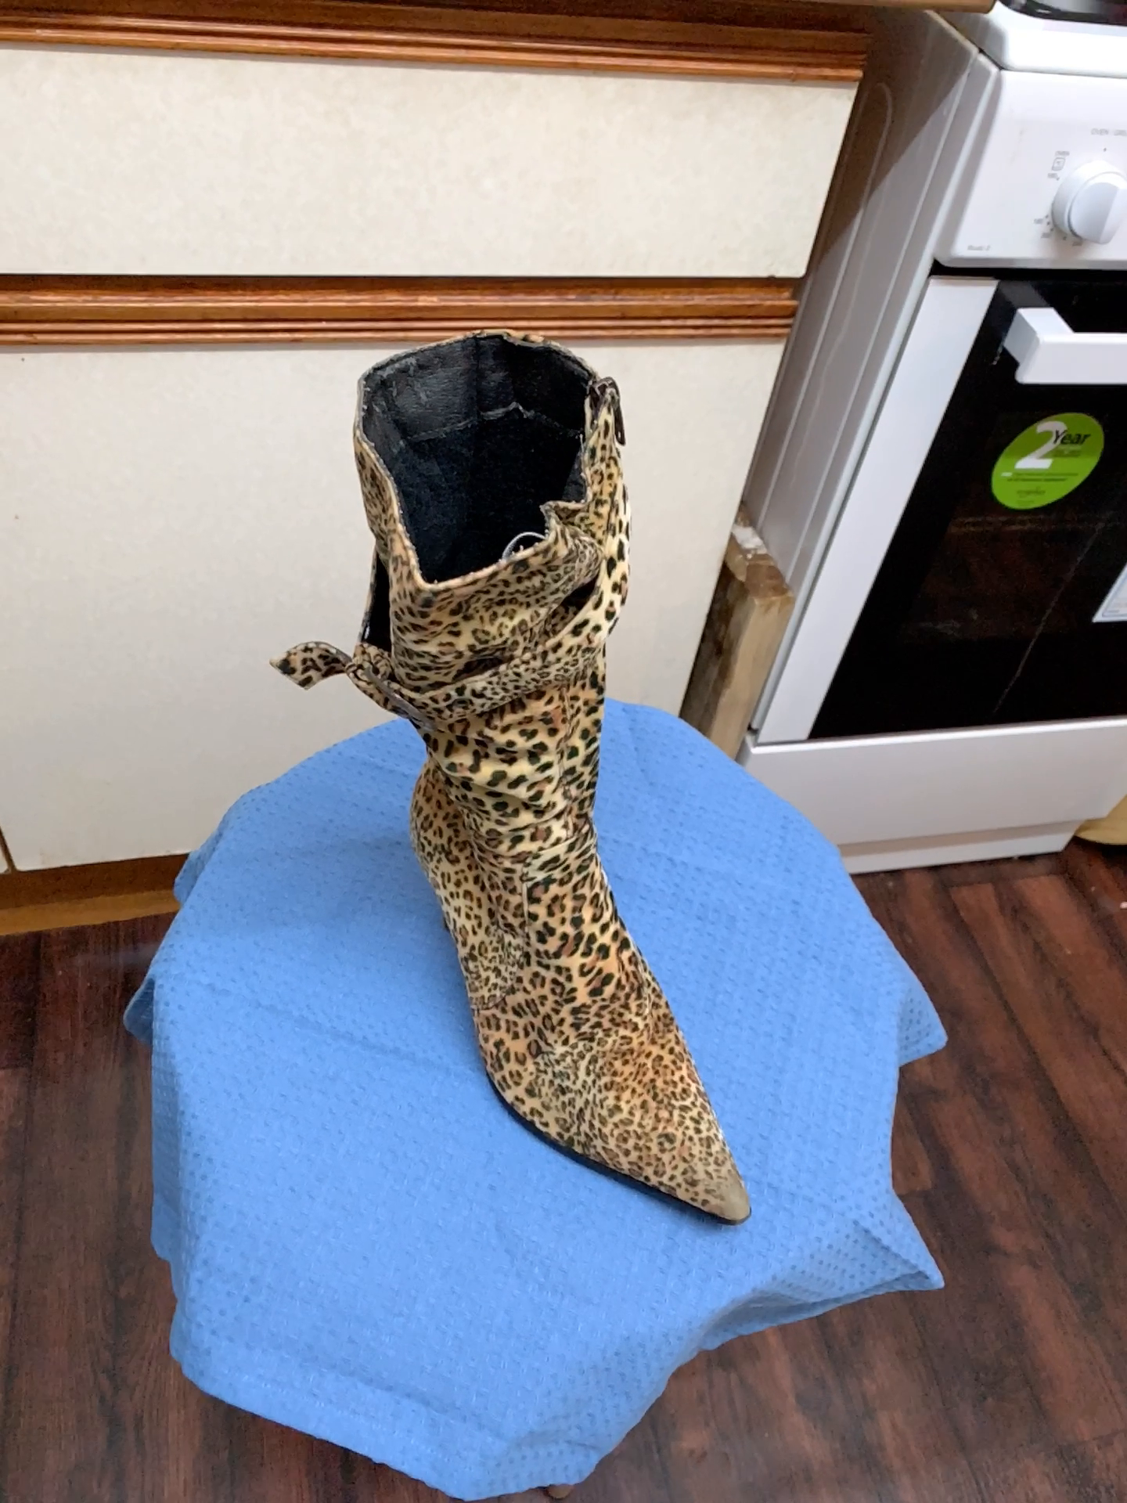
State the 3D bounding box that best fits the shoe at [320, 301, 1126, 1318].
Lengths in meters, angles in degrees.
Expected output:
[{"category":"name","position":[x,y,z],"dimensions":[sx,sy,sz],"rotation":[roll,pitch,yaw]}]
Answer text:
[{"category":"shoe","position":[0.017,0.043,0.490],"dimensions":[0.100,0.347,0.261],"rotation":[-29,58,-30]}]
